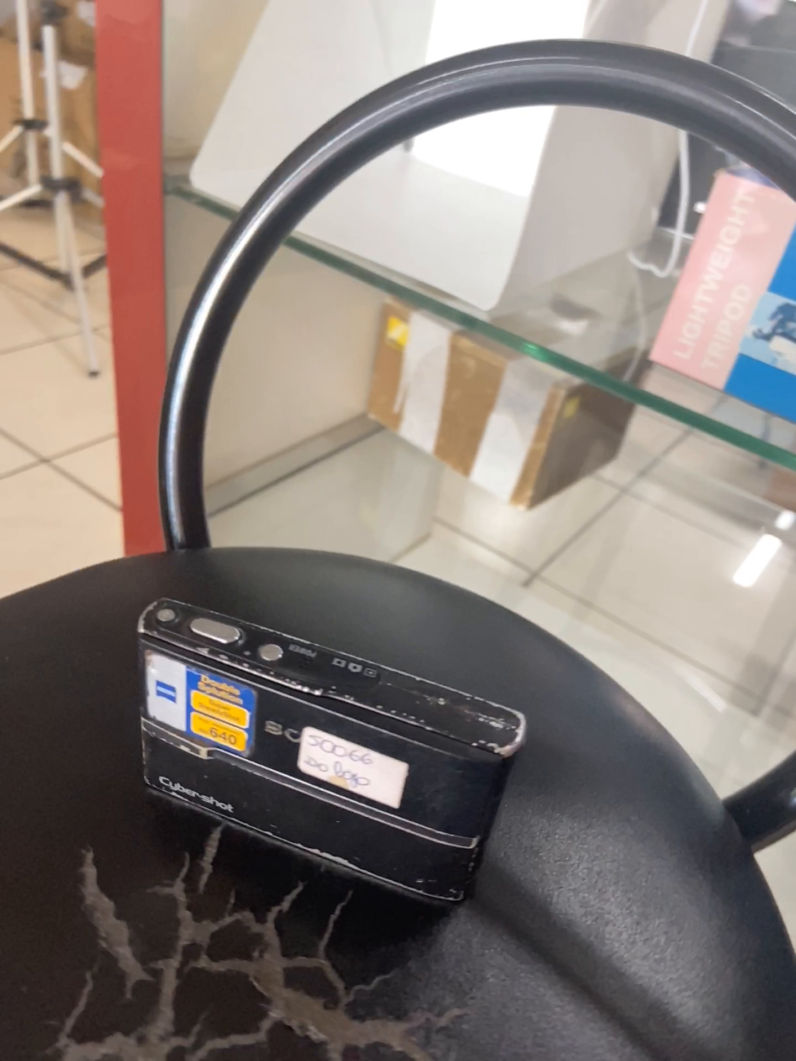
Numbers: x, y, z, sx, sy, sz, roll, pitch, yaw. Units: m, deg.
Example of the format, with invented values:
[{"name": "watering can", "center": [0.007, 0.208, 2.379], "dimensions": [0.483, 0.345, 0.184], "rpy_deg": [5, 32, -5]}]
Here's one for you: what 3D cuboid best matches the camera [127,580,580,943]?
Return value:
[{"name": "camera", "center": [-0.014, 0.056, 0.200], "dimensions": [0.100, 0.060, 0.020], "rpy_deg": [17, 35, 9]}]
